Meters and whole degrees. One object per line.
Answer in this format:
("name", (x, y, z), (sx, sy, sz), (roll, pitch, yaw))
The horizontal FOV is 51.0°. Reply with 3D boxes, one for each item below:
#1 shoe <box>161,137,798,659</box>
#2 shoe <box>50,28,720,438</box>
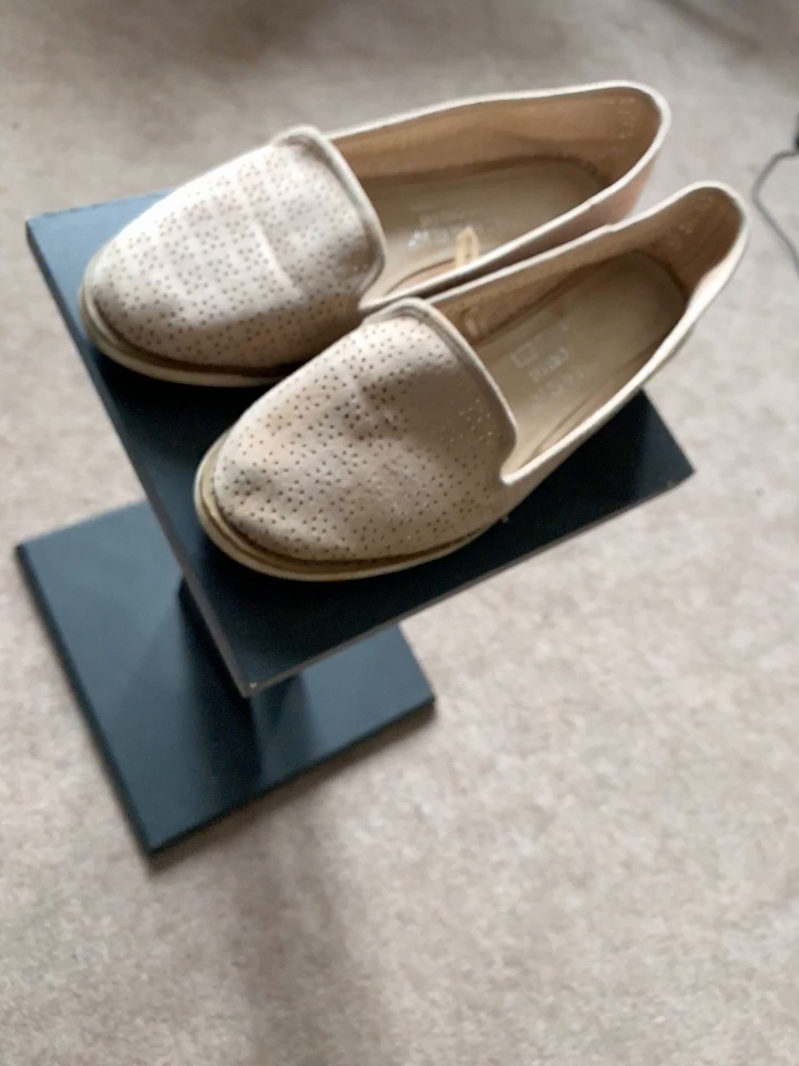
("shoe", (0.040, -0.057, 0.339), (0.251, 0.080, 0.080), (-32, 81, -18))
("shoe", (-0.001, -0.131, 0.357), (0.251, 0.080, 0.080), (-22, 77, -19))
